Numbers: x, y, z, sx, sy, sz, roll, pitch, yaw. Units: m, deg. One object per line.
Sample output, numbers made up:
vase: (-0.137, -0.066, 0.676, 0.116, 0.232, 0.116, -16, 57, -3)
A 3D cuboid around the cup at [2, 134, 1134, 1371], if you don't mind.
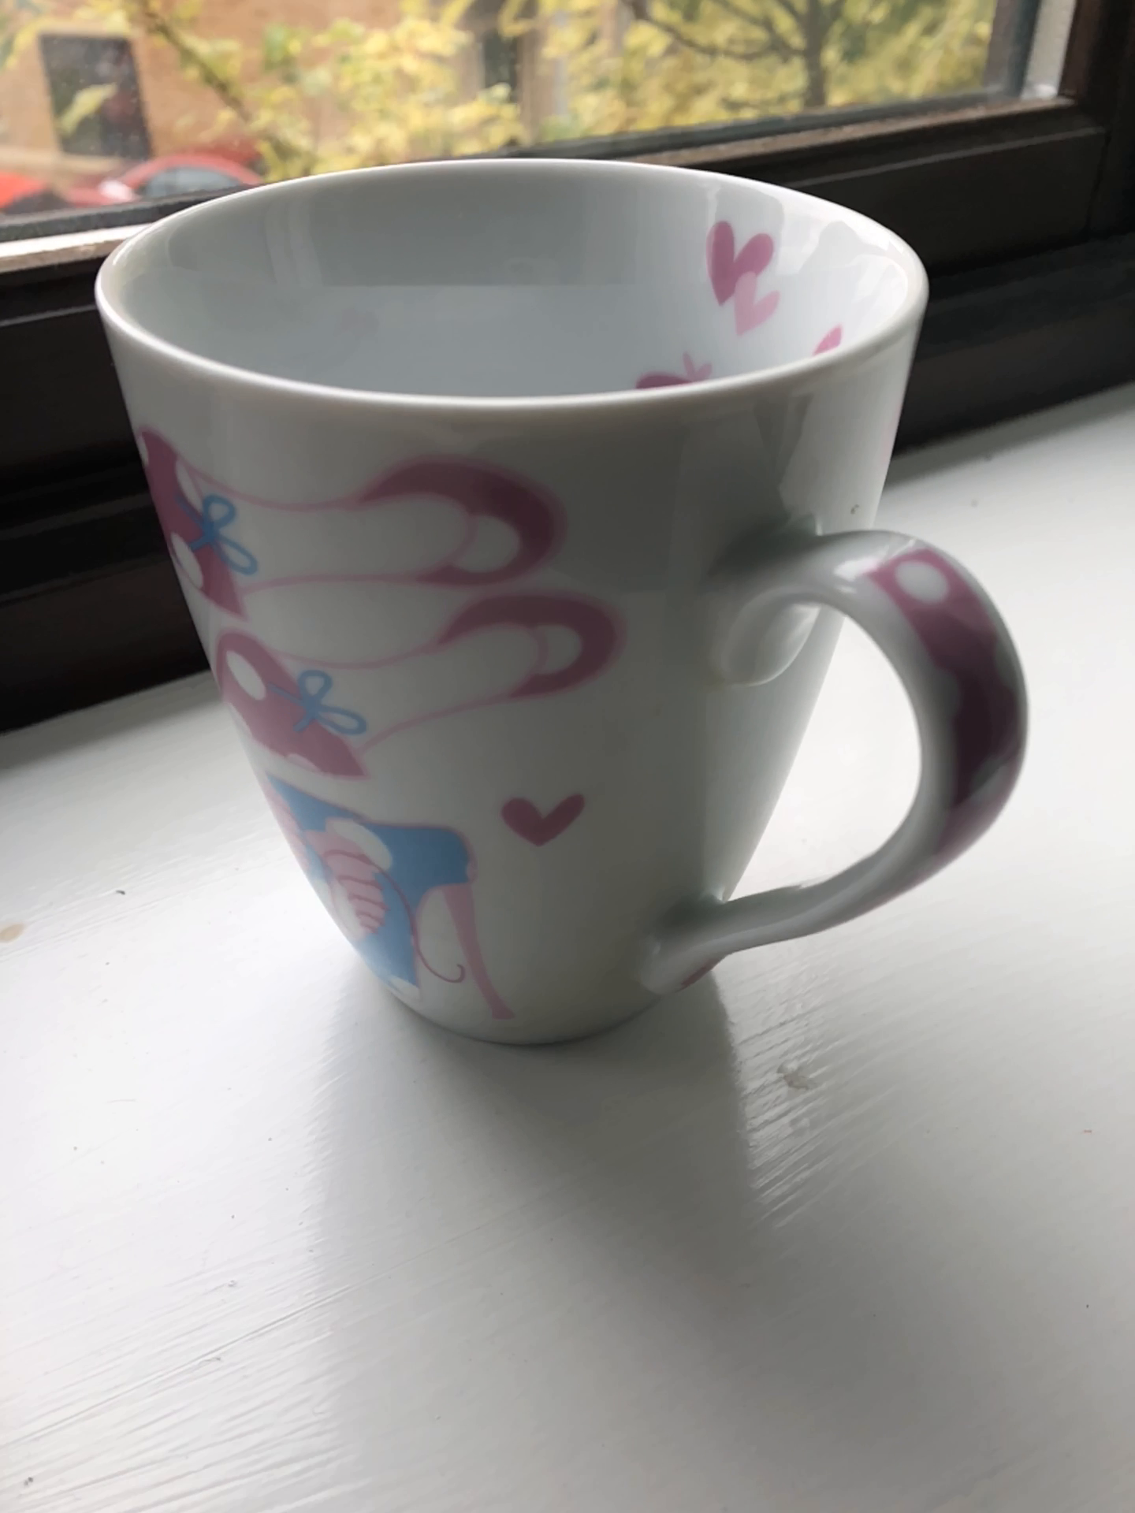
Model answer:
cup: (0.011, -0.023, 0.182, 0.110, 0.089, 0.141, -26, 43, -31)
